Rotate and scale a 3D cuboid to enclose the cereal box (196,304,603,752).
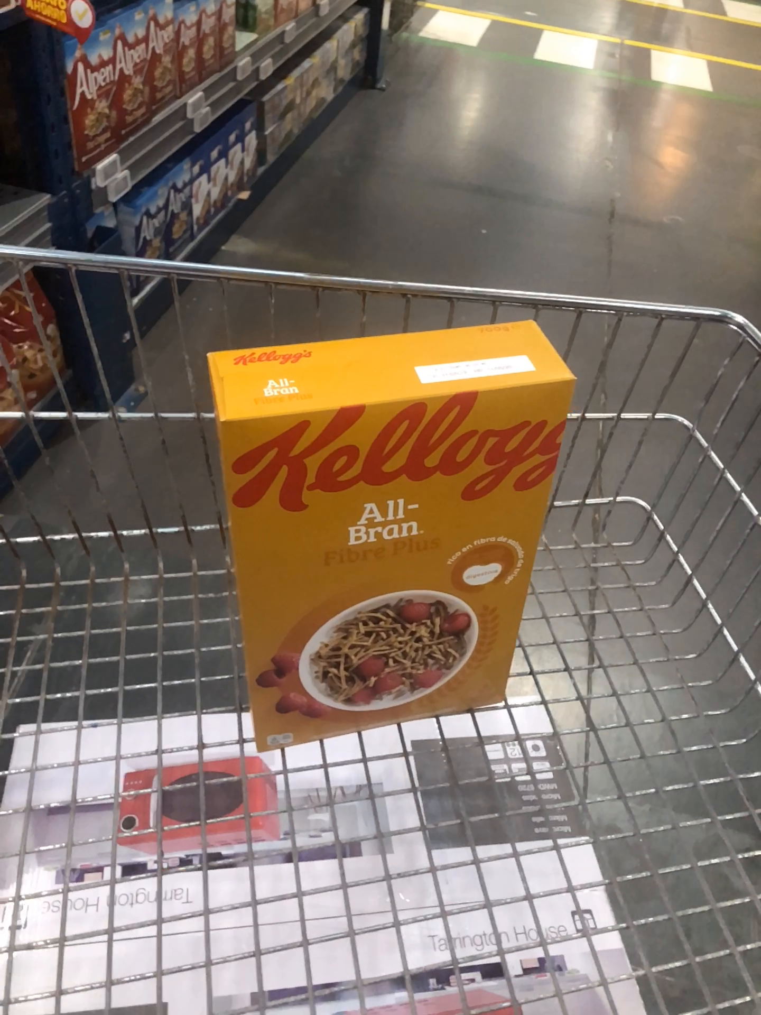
[{"bbox_3d":[0.005,0.027,0.535,0.200,0.289,0.070,-9,44,-11],"label":"cereal box"}]
